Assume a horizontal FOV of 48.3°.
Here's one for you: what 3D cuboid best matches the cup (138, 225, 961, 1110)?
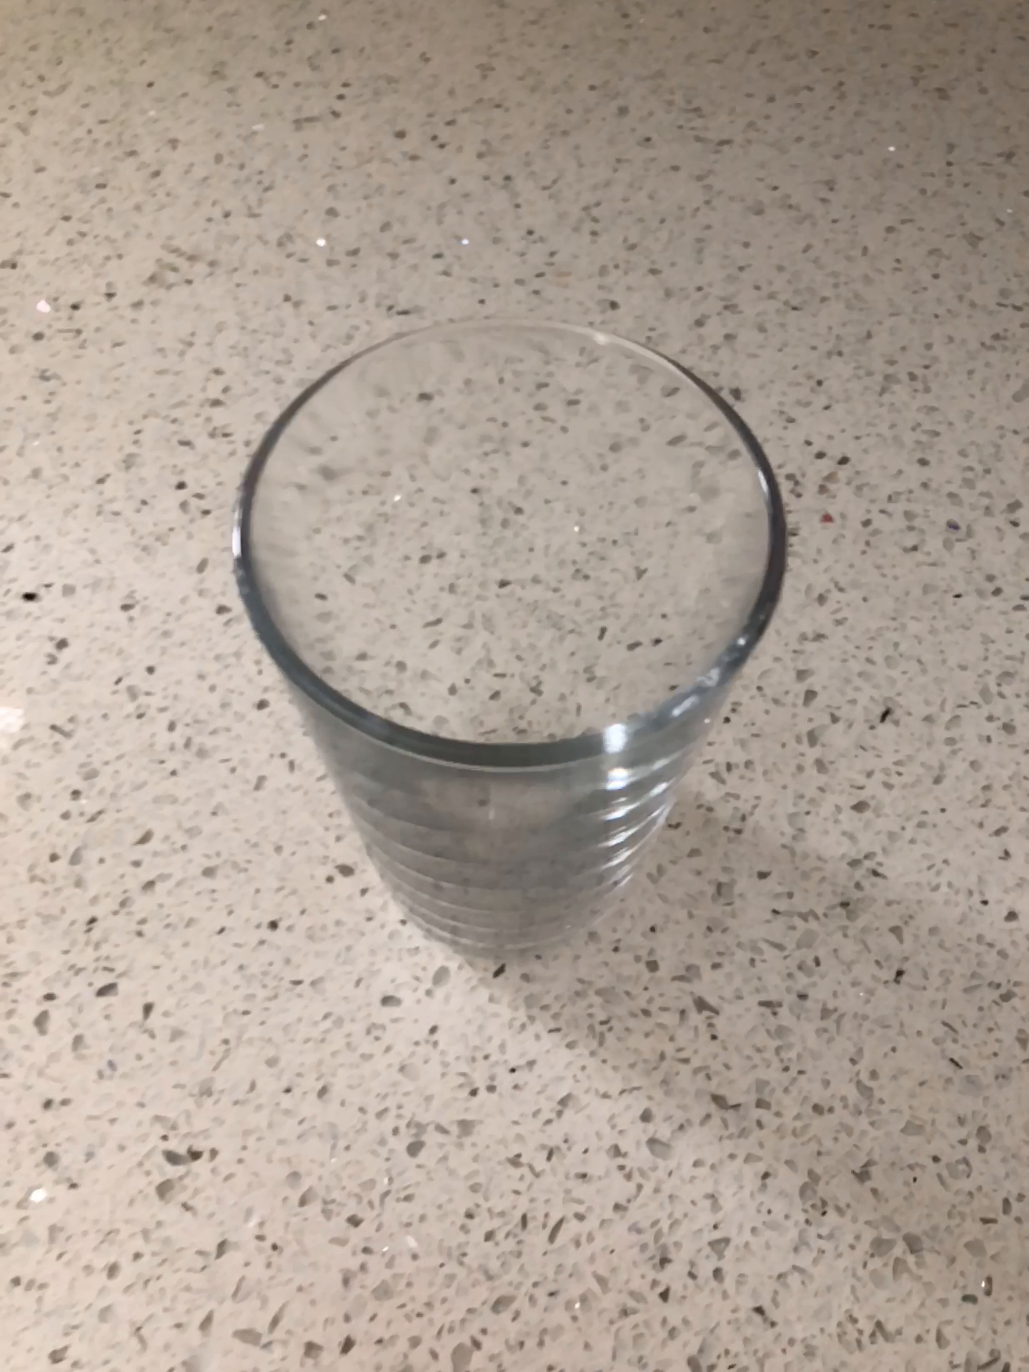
[{"bbox_3d":[0.001,0.006,0.193,0.074,0.114,0.080,0,60,0],"label":"cup"}]
